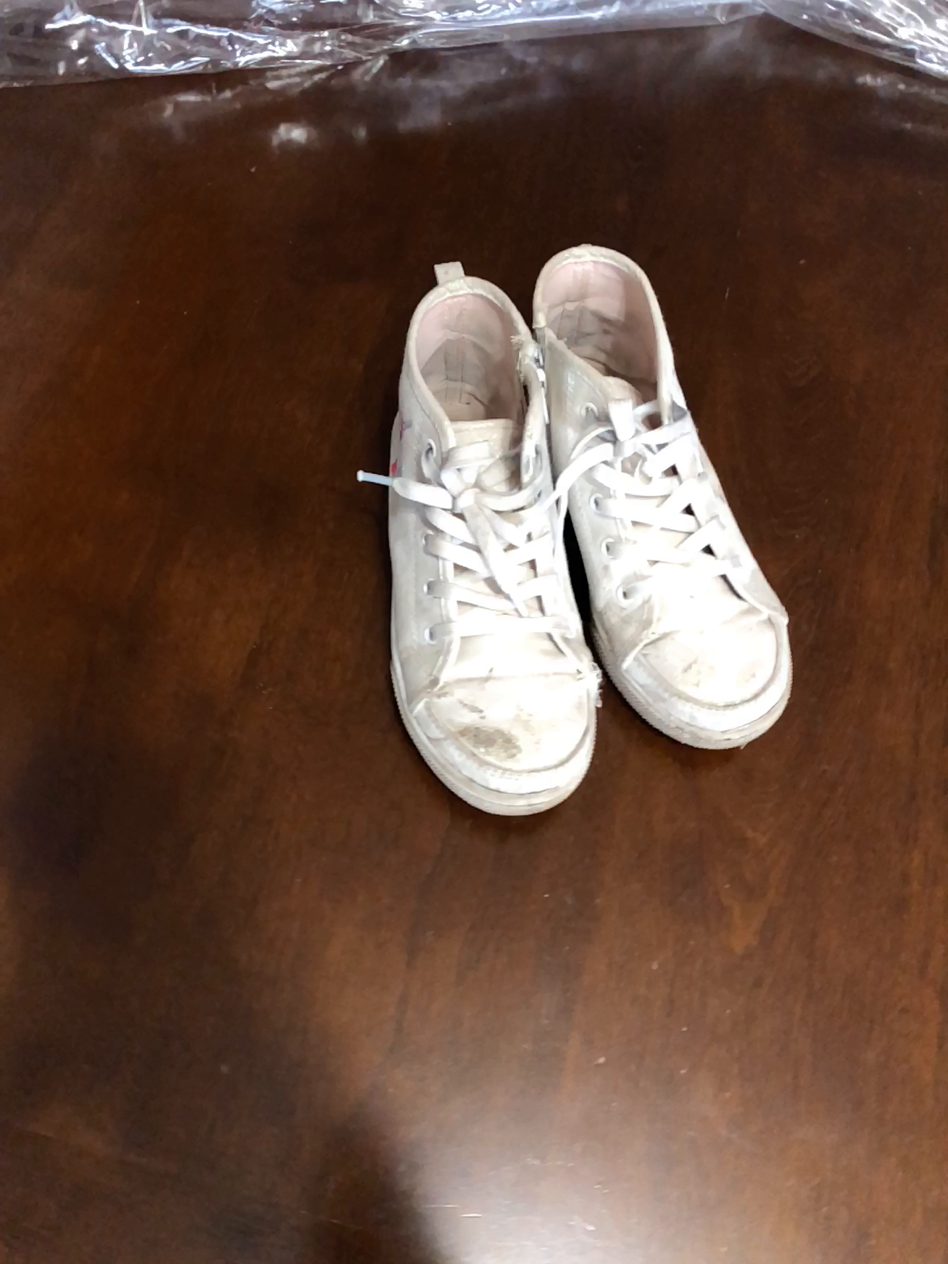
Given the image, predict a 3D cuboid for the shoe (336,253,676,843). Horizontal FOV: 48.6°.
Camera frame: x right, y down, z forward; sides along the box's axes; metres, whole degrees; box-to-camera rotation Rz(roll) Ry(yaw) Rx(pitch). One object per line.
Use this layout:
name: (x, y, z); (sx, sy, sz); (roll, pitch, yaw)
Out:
shoe: (0.002, -0.038, 0.445); (0.090, 0.100, 0.220); (-7, 65, -8)

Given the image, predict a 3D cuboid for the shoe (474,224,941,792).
shoe: (0.088, -0.058, 0.472); (0.090, 0.100, 0.220); (-20, 67, -13)
